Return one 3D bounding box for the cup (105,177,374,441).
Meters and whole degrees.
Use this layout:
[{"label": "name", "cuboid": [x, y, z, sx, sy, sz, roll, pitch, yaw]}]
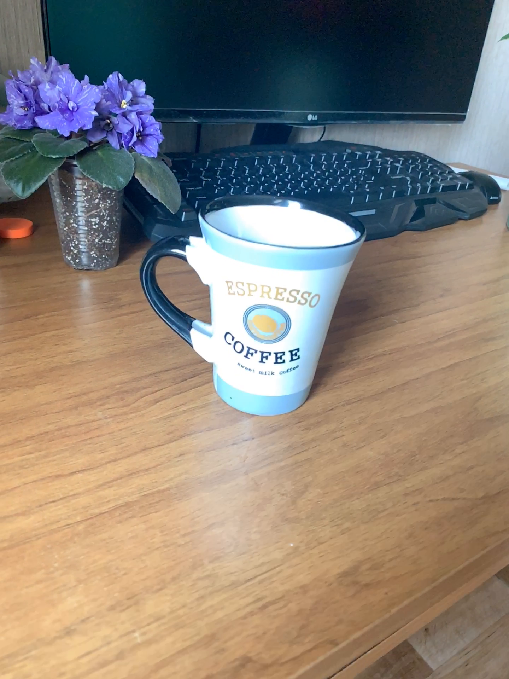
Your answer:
[{"label": "cup", "cuboid": [-0.006, -0.018, 0.266, 0.110, 0.100, 0.070, 8, 29, 5]}]
